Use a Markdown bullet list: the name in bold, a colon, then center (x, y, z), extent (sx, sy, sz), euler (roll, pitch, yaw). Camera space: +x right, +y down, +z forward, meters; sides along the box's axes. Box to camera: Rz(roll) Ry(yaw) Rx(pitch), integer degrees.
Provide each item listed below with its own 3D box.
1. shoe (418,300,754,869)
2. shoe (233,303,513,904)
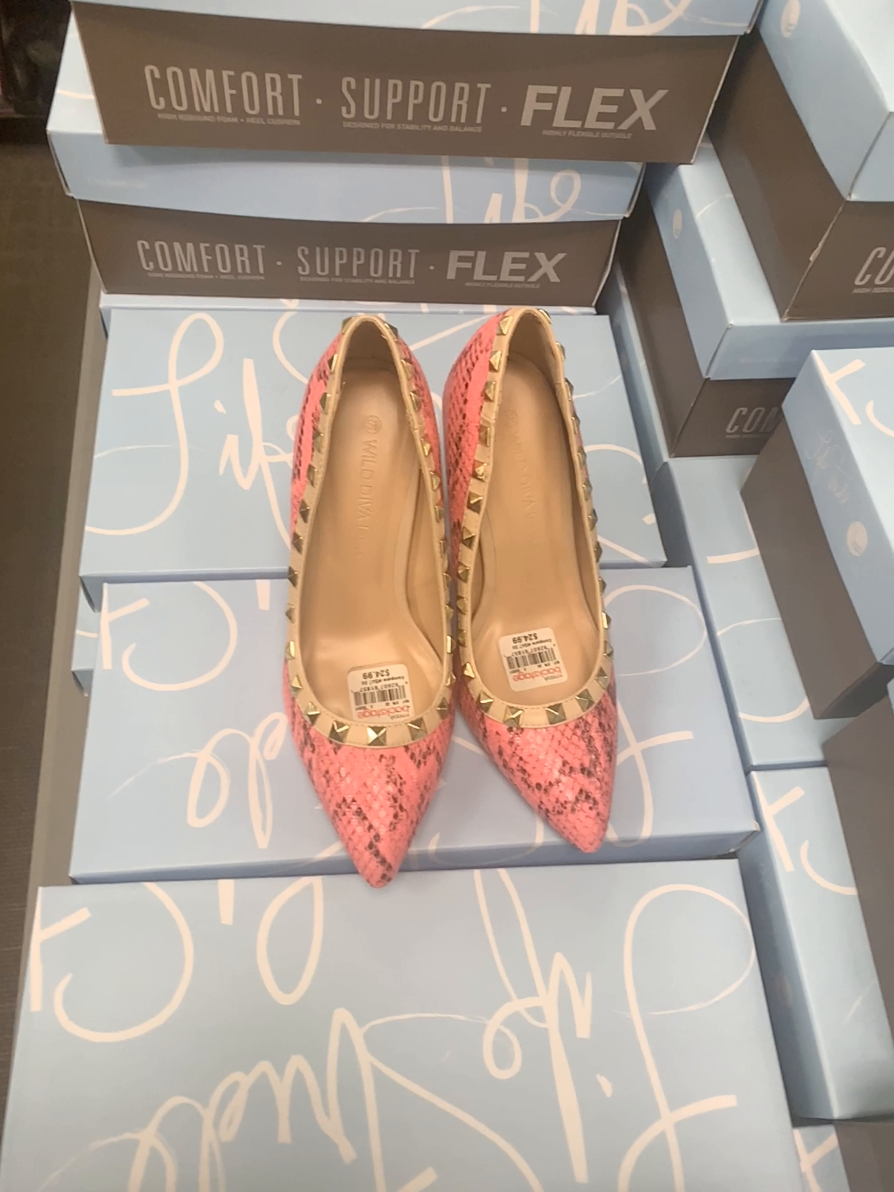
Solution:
- **shoe**: center (0.040, -0.004, 0.380), extent (0.082, 0.129, 0.196), euler (-2, 61, -7)
- **shoe**: center (-0.035, 0.004, 0.364), extent (0.080, 0.129, 0.200), euler (-2, 61, -7)
